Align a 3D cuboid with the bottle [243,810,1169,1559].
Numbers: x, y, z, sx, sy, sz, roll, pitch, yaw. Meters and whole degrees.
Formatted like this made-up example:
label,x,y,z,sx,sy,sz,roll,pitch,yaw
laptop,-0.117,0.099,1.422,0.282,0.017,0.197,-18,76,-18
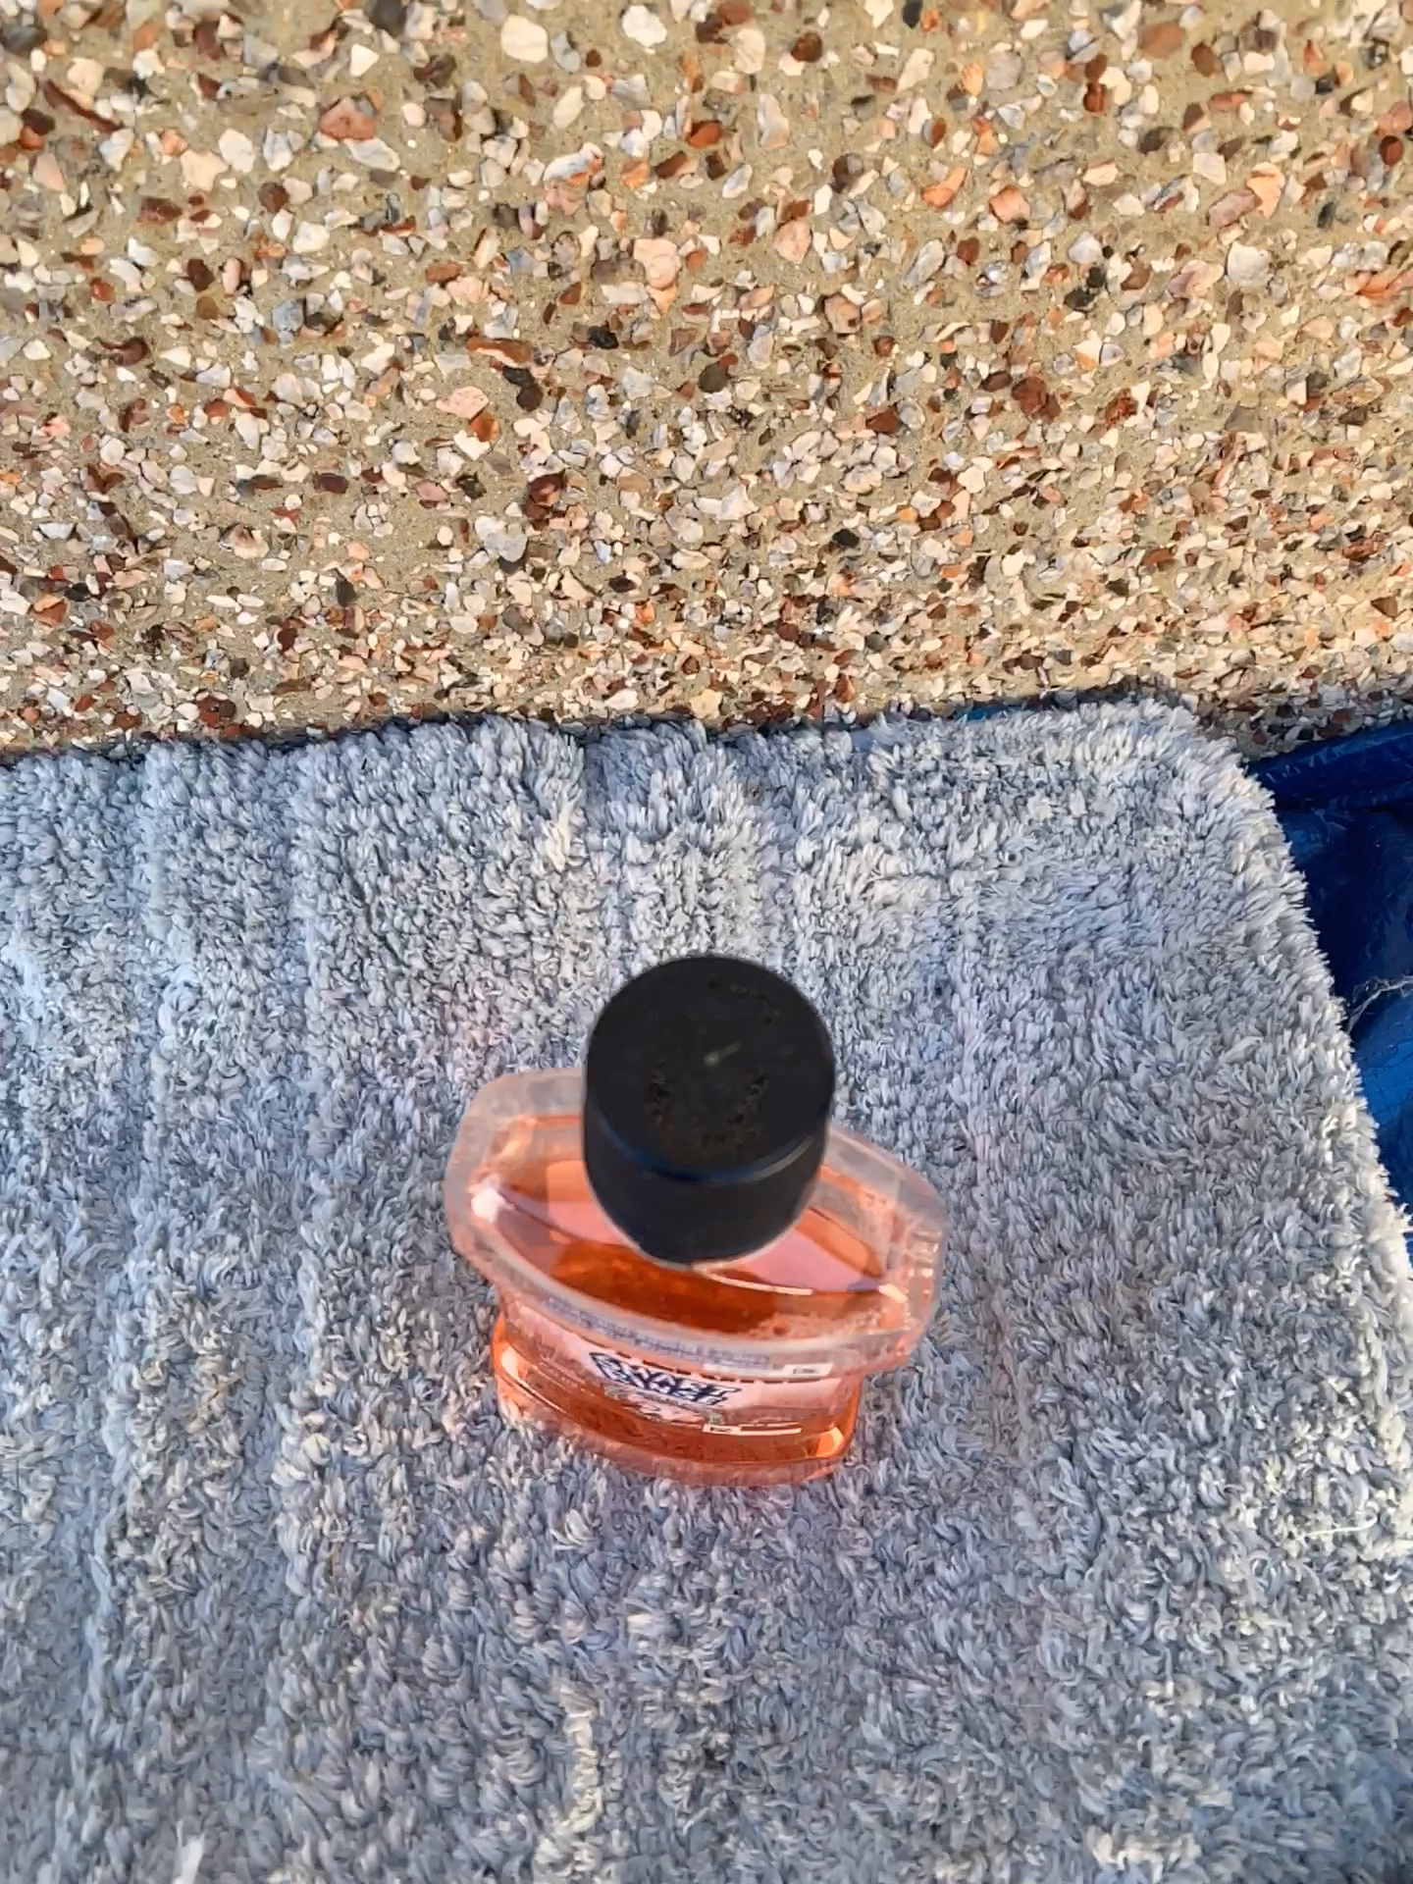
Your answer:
label,x,y,z,sx,sy,sz,roll,pitch,yaw
bottle,0.002,0.052,0.227,0.090,0.159,0.050,12,63,6
